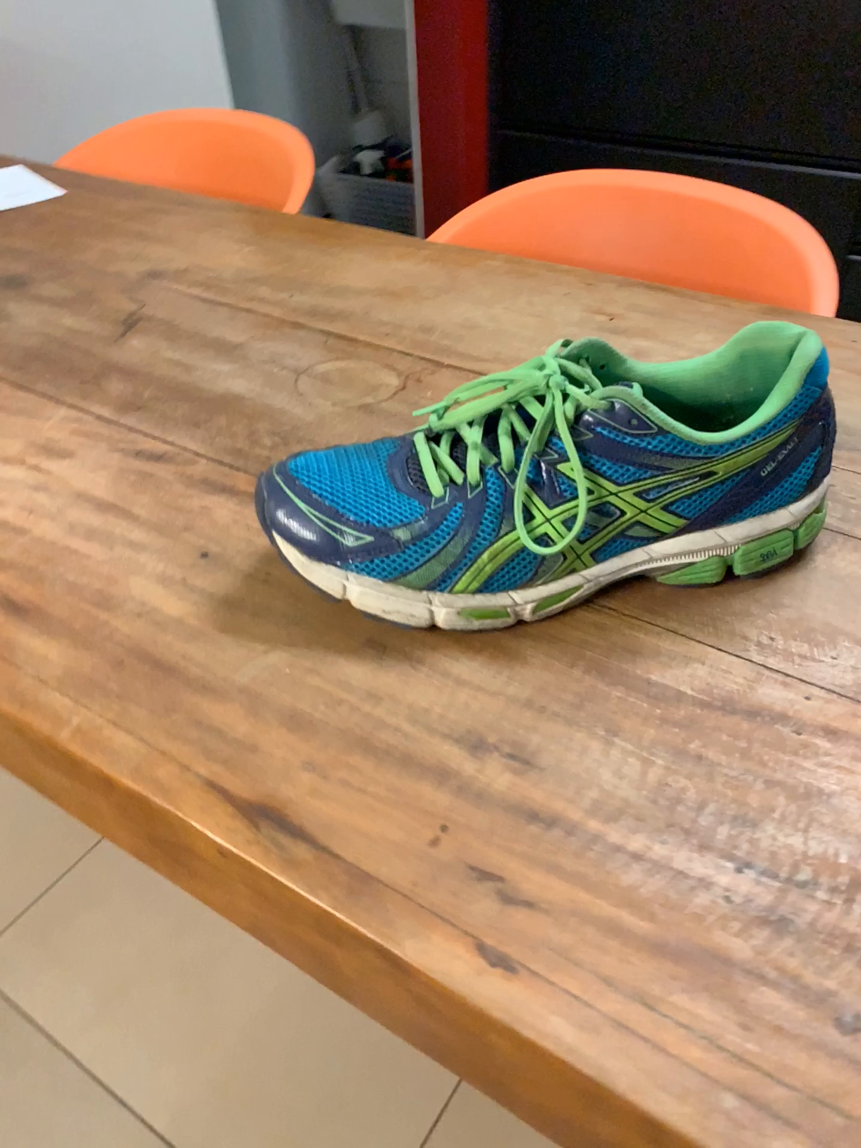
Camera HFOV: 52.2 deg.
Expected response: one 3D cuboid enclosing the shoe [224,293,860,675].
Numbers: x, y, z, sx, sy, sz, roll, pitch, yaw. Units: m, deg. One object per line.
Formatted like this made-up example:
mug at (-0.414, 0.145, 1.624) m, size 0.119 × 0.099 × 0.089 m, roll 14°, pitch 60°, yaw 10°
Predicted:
shoe at (0.061, -0.048, 0.448) m, size 0.300 × 0.119 × 0.111 m, roll -7°, pitch 42°, yaw -3°
